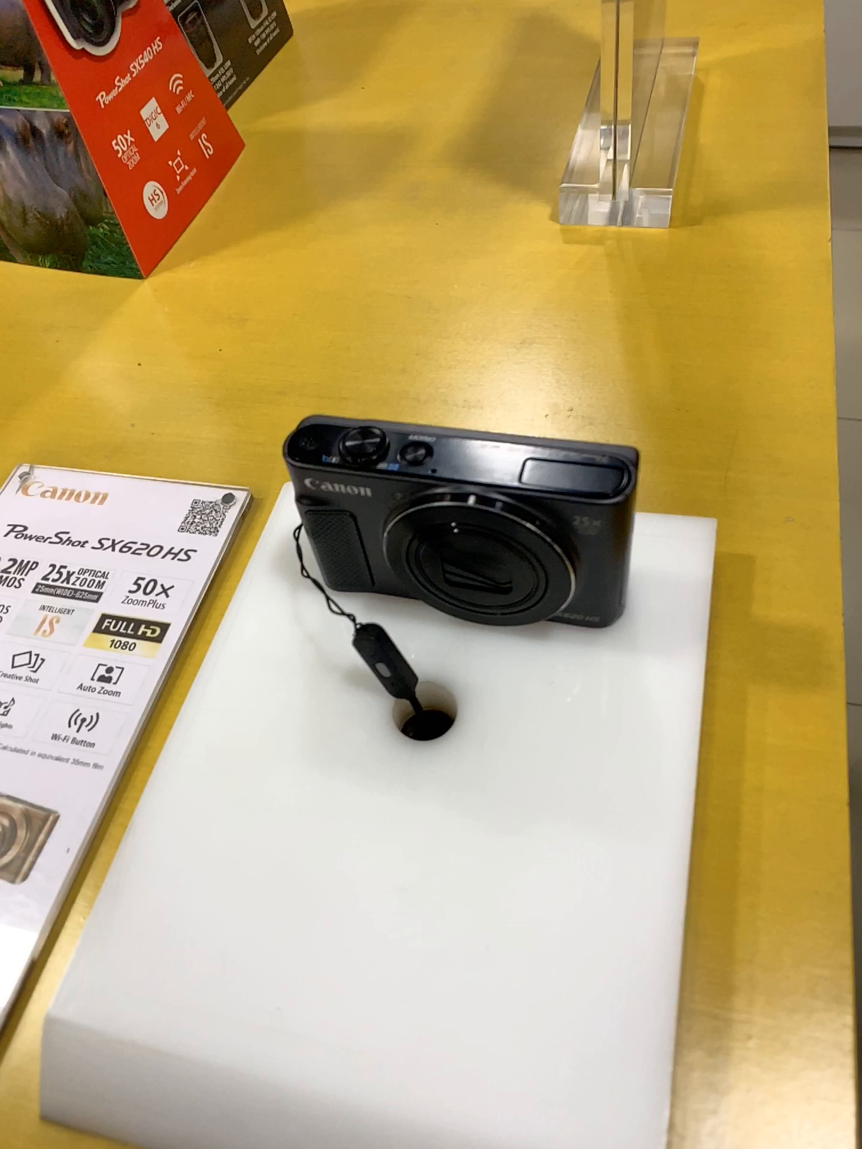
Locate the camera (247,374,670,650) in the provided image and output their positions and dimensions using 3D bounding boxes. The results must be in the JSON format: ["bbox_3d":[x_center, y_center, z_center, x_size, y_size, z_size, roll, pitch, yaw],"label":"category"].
[{"bbox_3d":[0.009,-0.017,0.241,0.100,0.060,0.030,9,55,15],"label":"camera"}]
